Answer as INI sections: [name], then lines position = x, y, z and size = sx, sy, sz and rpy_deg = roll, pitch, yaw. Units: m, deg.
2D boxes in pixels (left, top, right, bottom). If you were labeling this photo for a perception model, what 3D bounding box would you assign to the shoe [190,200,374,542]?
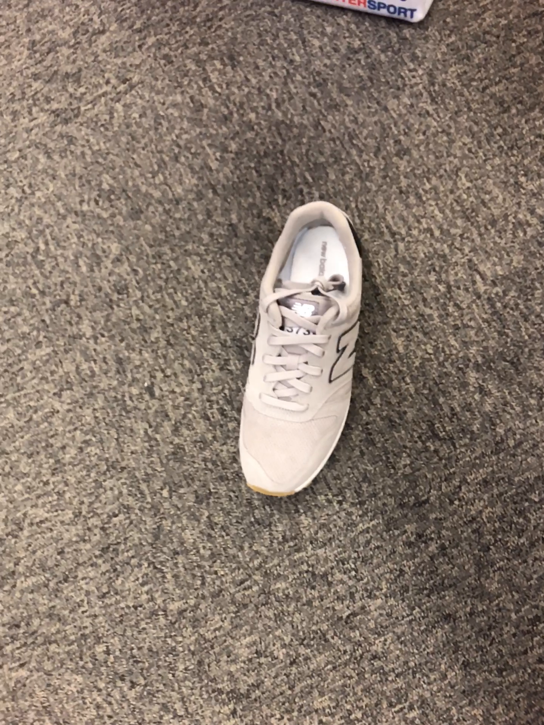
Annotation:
[shoe]
position = 0.017, 0.008, 0.529
size = 0.100, 0.110, 0.260
rpy_deg = 9, 82, 10
